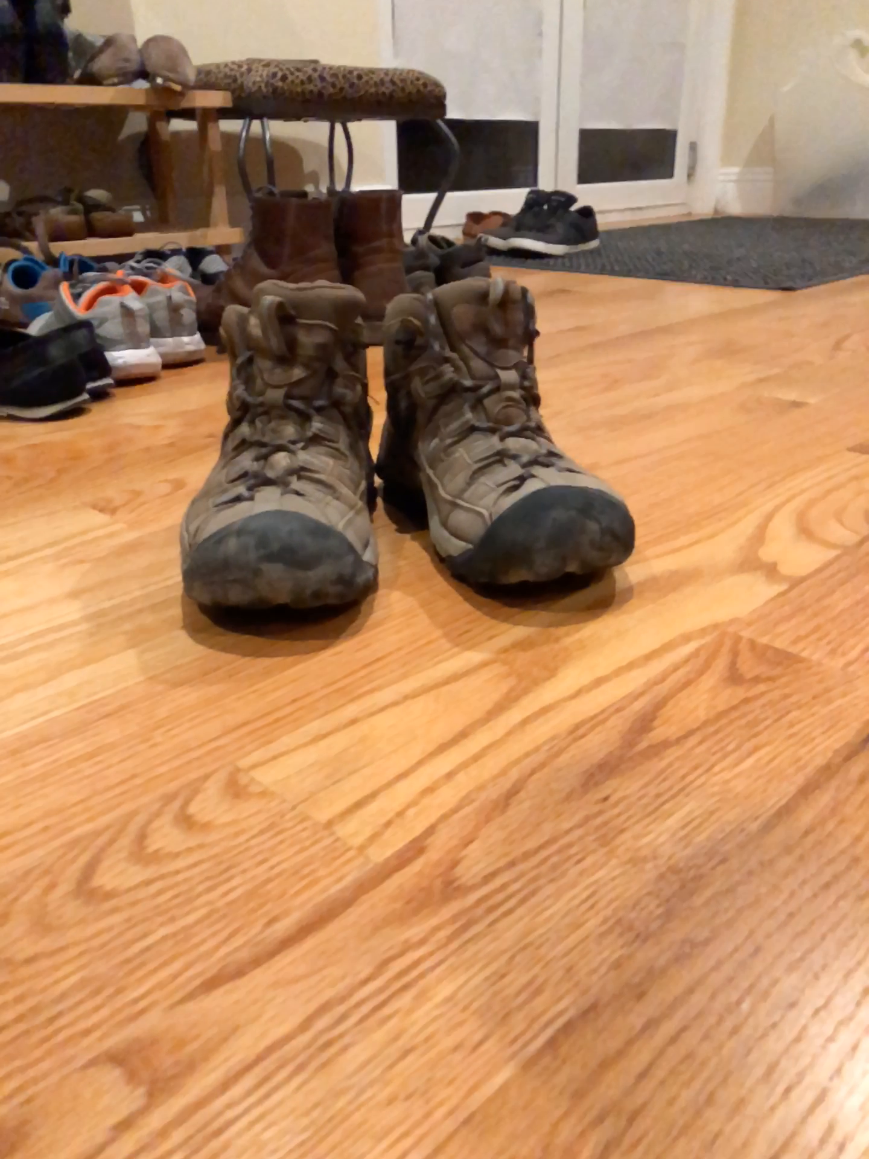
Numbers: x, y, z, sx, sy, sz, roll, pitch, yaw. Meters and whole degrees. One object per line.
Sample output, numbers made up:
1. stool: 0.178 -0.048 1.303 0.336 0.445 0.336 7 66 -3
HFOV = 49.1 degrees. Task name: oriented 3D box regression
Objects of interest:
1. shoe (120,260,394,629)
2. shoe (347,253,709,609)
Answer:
1. shoe: -0.082 -0.095 0.538 0.107 0.139 0.261 -2 24 -3
2. shoe: 0.035 -0.106 0.559 0.107 0.139 0.260 -8 25 -16
